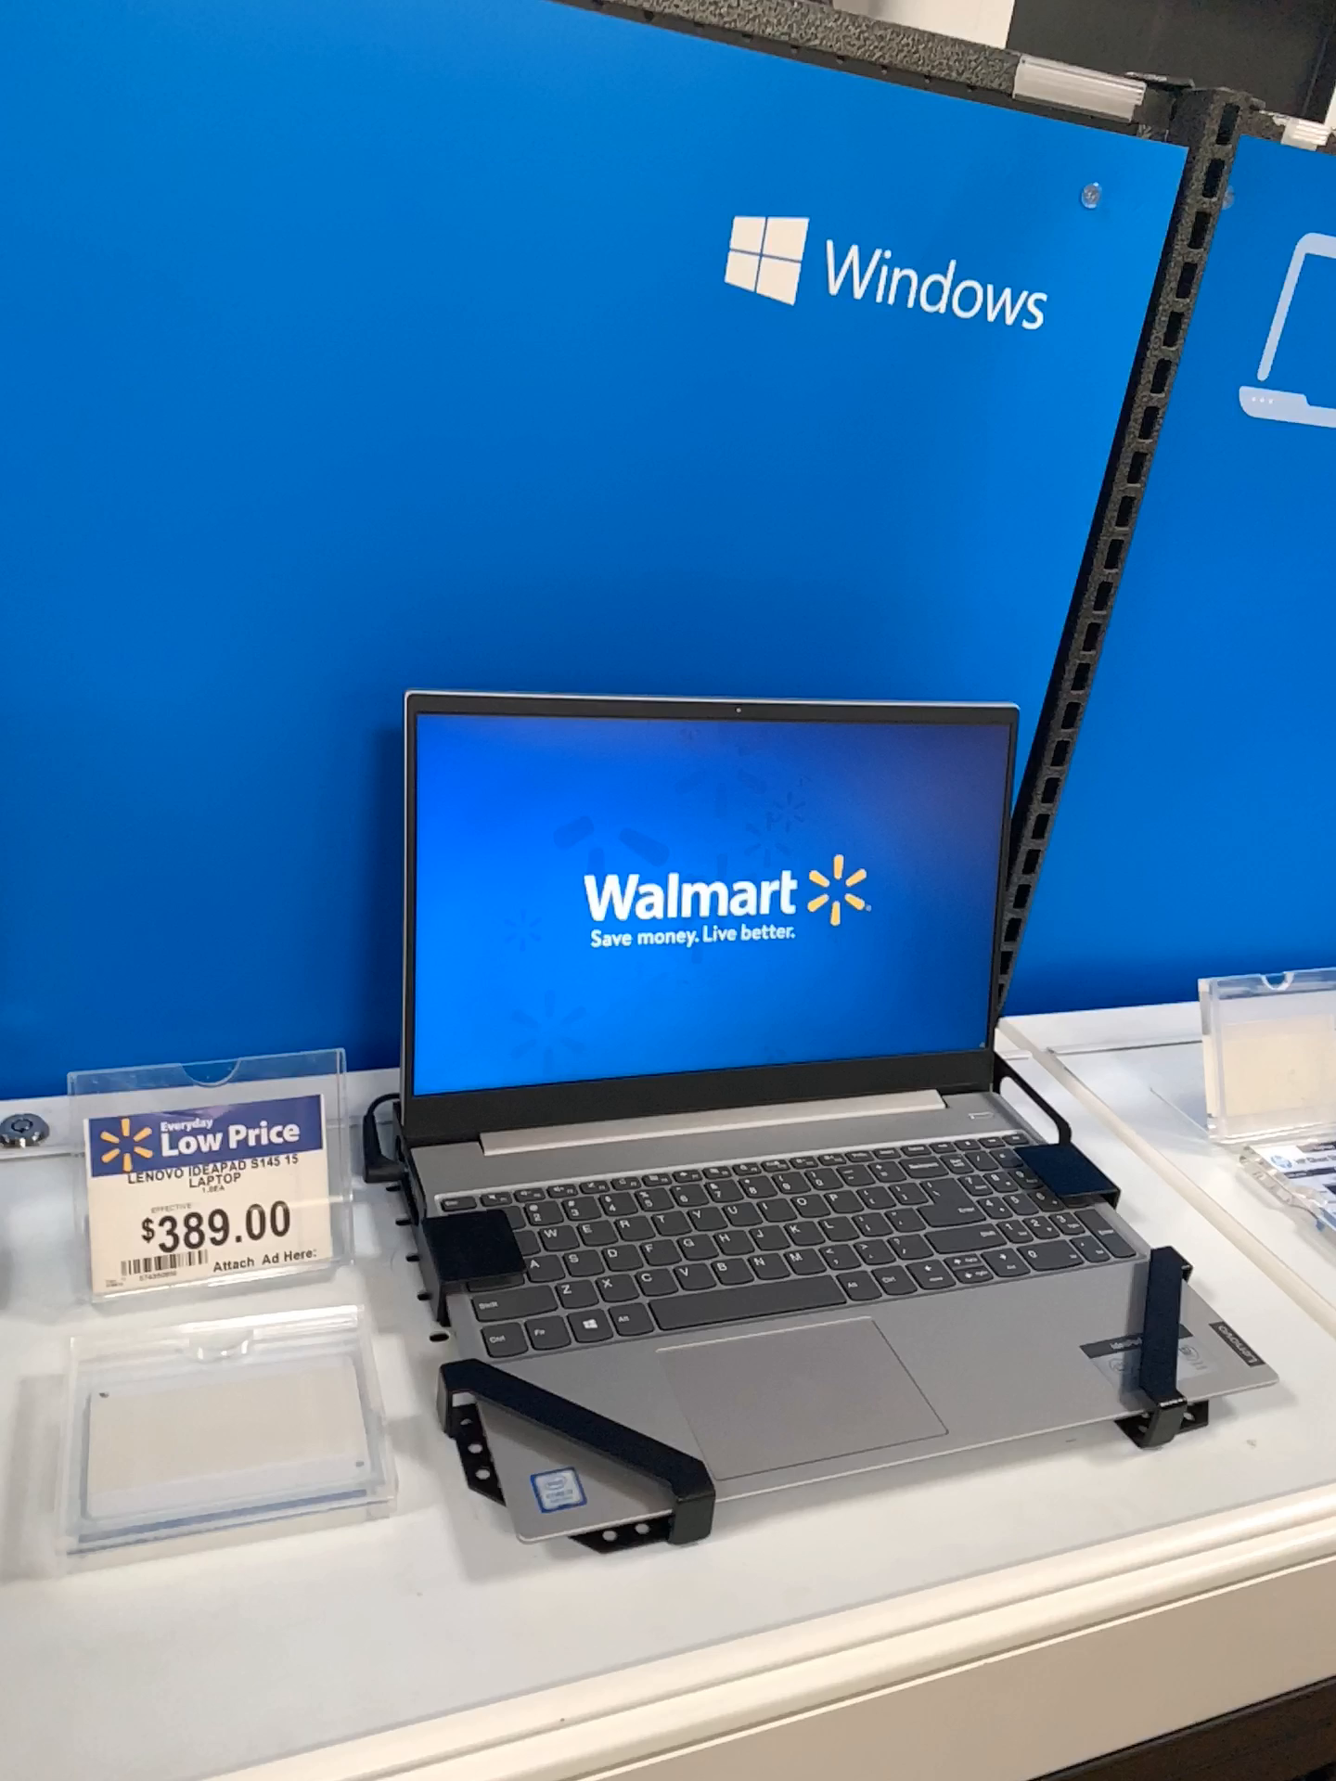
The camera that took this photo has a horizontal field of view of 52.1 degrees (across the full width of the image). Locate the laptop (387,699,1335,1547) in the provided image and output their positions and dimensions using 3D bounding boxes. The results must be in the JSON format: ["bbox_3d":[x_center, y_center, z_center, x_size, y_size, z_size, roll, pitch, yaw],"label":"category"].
[{"bbox_3d":[0.075,0.063,0.634,0.350,0.217,0.299,-2,26,-21],"label":"laptop"}]
